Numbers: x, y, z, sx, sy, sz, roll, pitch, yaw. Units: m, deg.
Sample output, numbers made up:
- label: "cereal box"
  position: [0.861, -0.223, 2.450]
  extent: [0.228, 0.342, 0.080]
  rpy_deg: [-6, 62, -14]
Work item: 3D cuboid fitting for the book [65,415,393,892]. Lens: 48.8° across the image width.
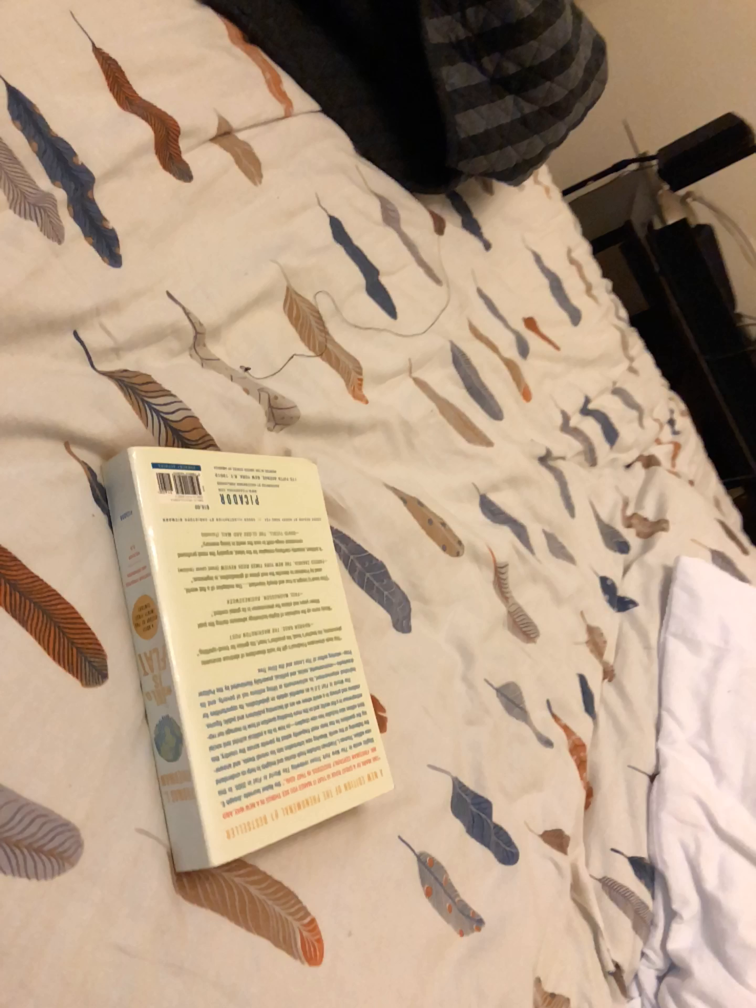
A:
- label: "book"
  position: [-0.074, 0.068, 0.456]
  extent: [0.151, 0.040, 0.220]
  rpy_deg: [-1, 74, -57]
